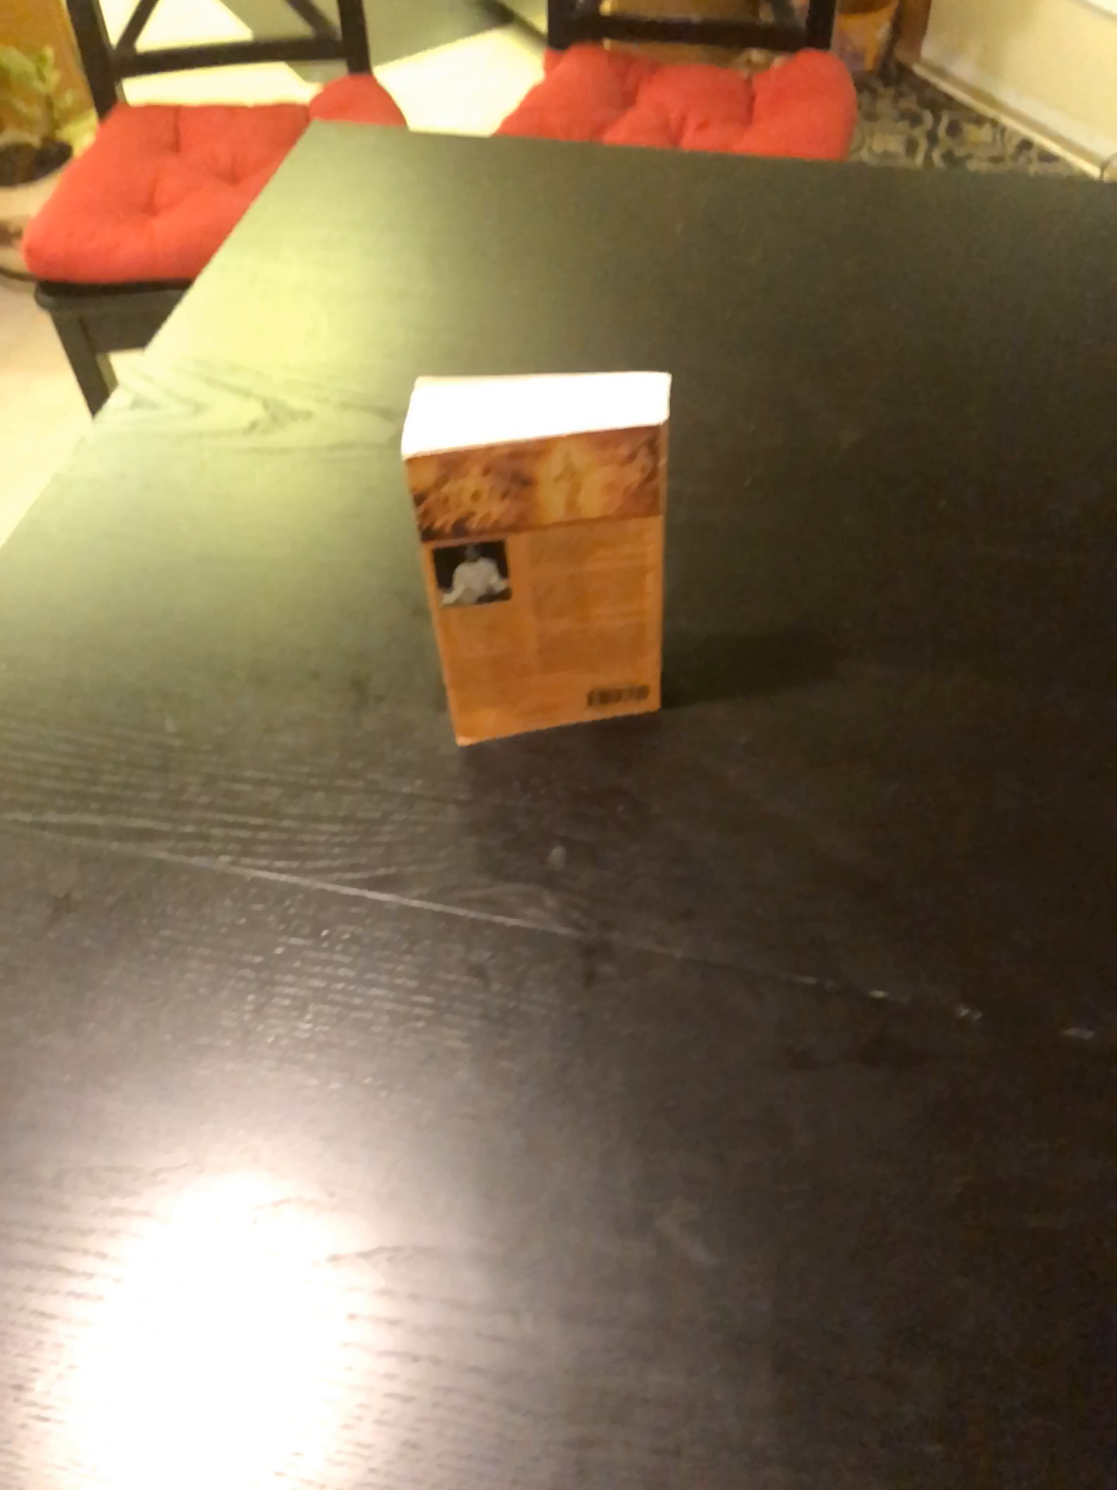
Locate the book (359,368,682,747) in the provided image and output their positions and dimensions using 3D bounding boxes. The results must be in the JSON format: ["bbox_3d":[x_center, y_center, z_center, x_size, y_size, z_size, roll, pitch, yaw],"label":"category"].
[{"bbox_3d":[-0.011,-0.078,0.566,0.126,0.174,0.059,-1,51,3],"label":"book"}]
